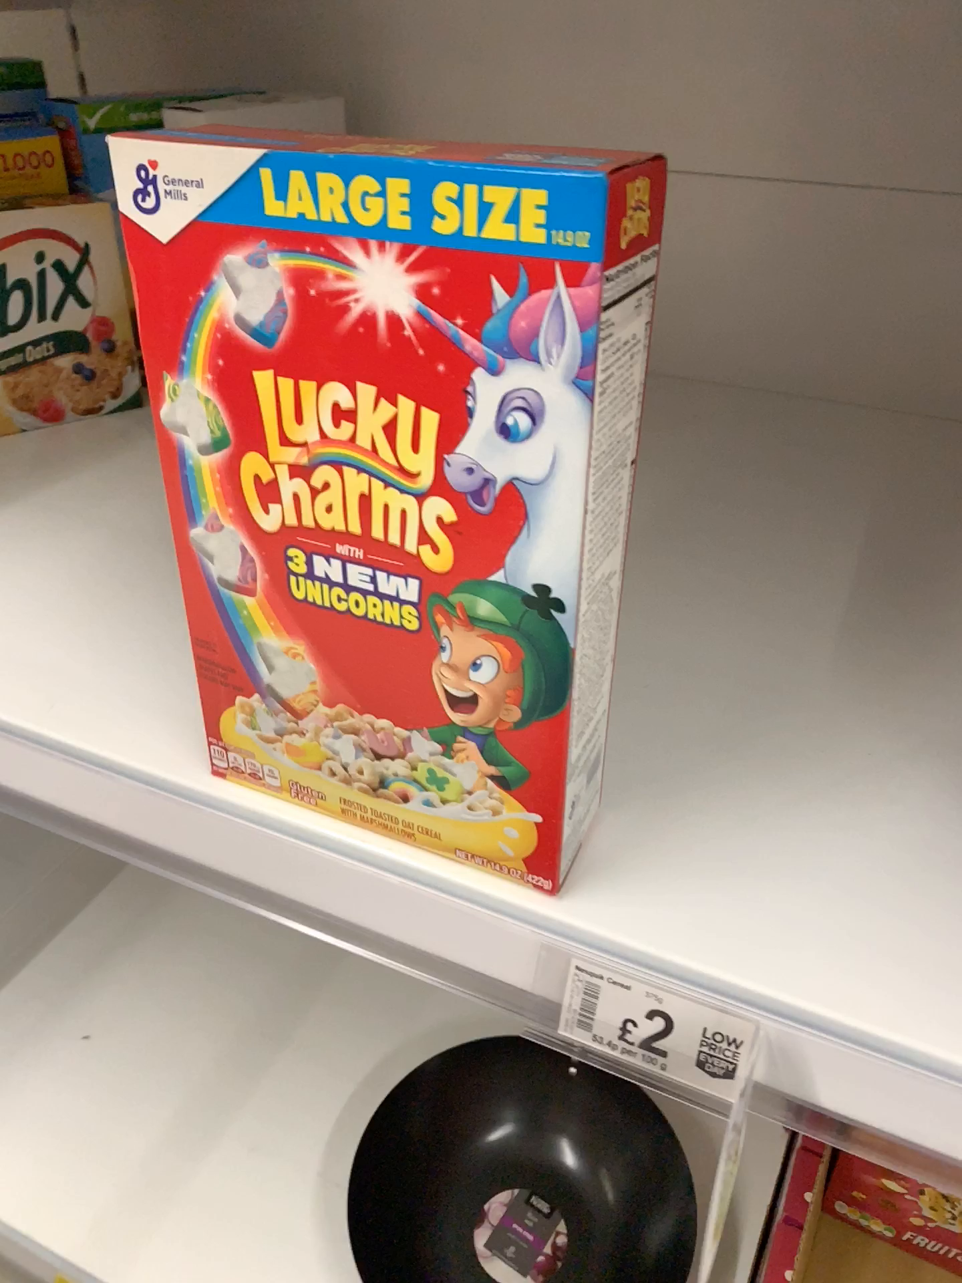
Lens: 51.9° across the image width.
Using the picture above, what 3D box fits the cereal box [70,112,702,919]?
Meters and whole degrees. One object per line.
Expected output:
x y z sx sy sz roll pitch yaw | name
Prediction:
-0.039 -0.048 0.418 0.210 0.297 0.071 15 34 21 | cereal box
